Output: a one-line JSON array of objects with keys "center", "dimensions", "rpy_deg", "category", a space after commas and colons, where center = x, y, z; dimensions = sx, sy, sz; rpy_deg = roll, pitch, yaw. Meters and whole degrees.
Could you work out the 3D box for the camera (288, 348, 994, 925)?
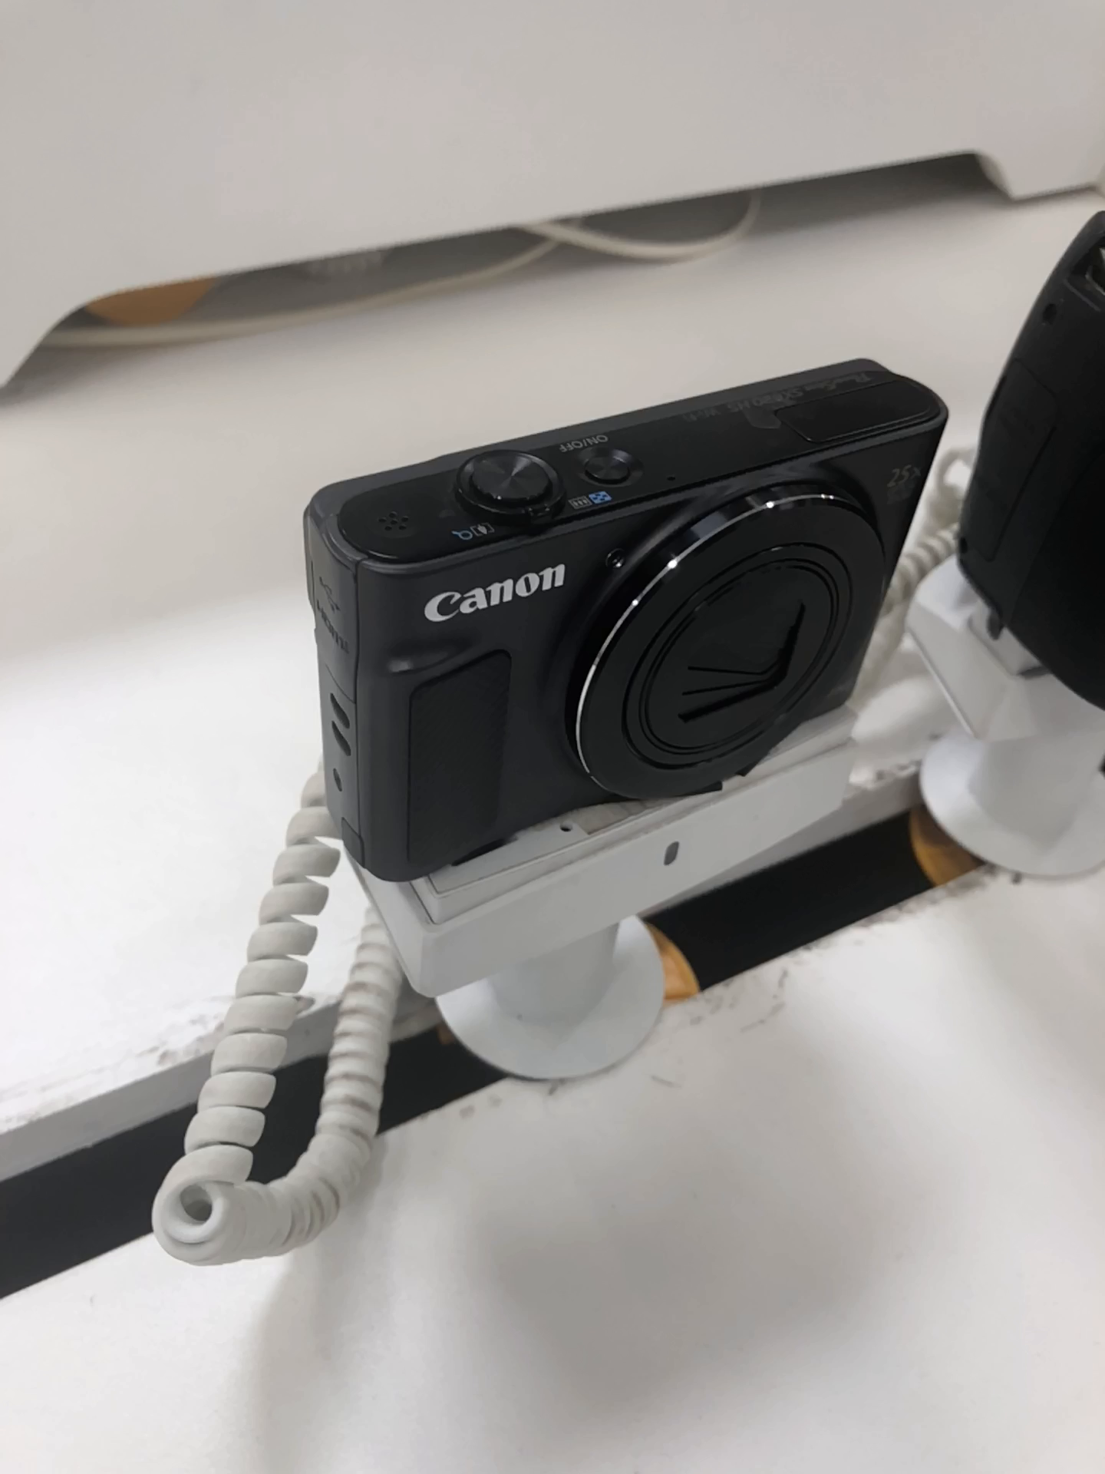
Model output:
[{"center": [0.012, -0.016, 0.181], "dimensions": [0.093, 0.057, 0.025], "rpy_deg": [-20, 54, -24], "category": "camera"}]
